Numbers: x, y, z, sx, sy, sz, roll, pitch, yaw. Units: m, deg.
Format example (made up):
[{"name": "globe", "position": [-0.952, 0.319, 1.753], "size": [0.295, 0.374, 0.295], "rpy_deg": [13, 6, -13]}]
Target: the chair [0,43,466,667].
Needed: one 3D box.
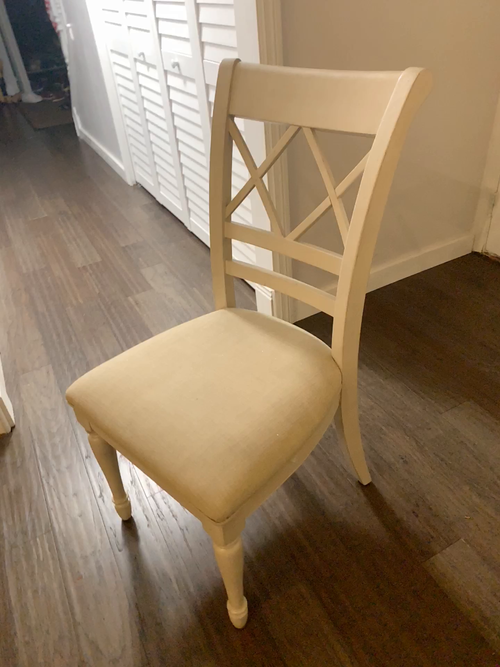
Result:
[{"name": "chair", "position": [-0.046, 0.015, 1.064], "size": [0.582, 0.994, 0.611], "rpy_deg": [25, 46, 35]}]
